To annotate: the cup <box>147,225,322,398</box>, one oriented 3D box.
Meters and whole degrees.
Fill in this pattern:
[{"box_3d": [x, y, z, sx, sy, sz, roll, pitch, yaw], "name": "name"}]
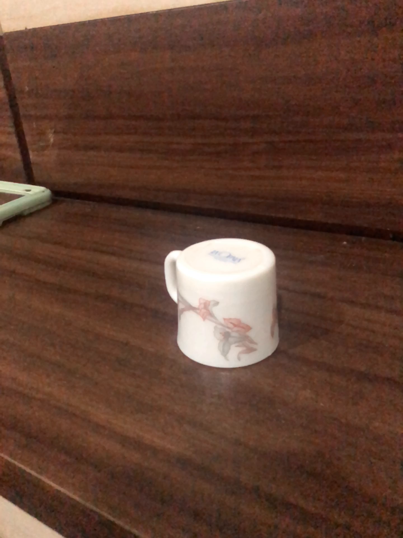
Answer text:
[{"box_3d": [0.022, 0.022, 0.290, 0.090, 0.070, 0.060, 16, 35, 37], "name": "cup"}]
